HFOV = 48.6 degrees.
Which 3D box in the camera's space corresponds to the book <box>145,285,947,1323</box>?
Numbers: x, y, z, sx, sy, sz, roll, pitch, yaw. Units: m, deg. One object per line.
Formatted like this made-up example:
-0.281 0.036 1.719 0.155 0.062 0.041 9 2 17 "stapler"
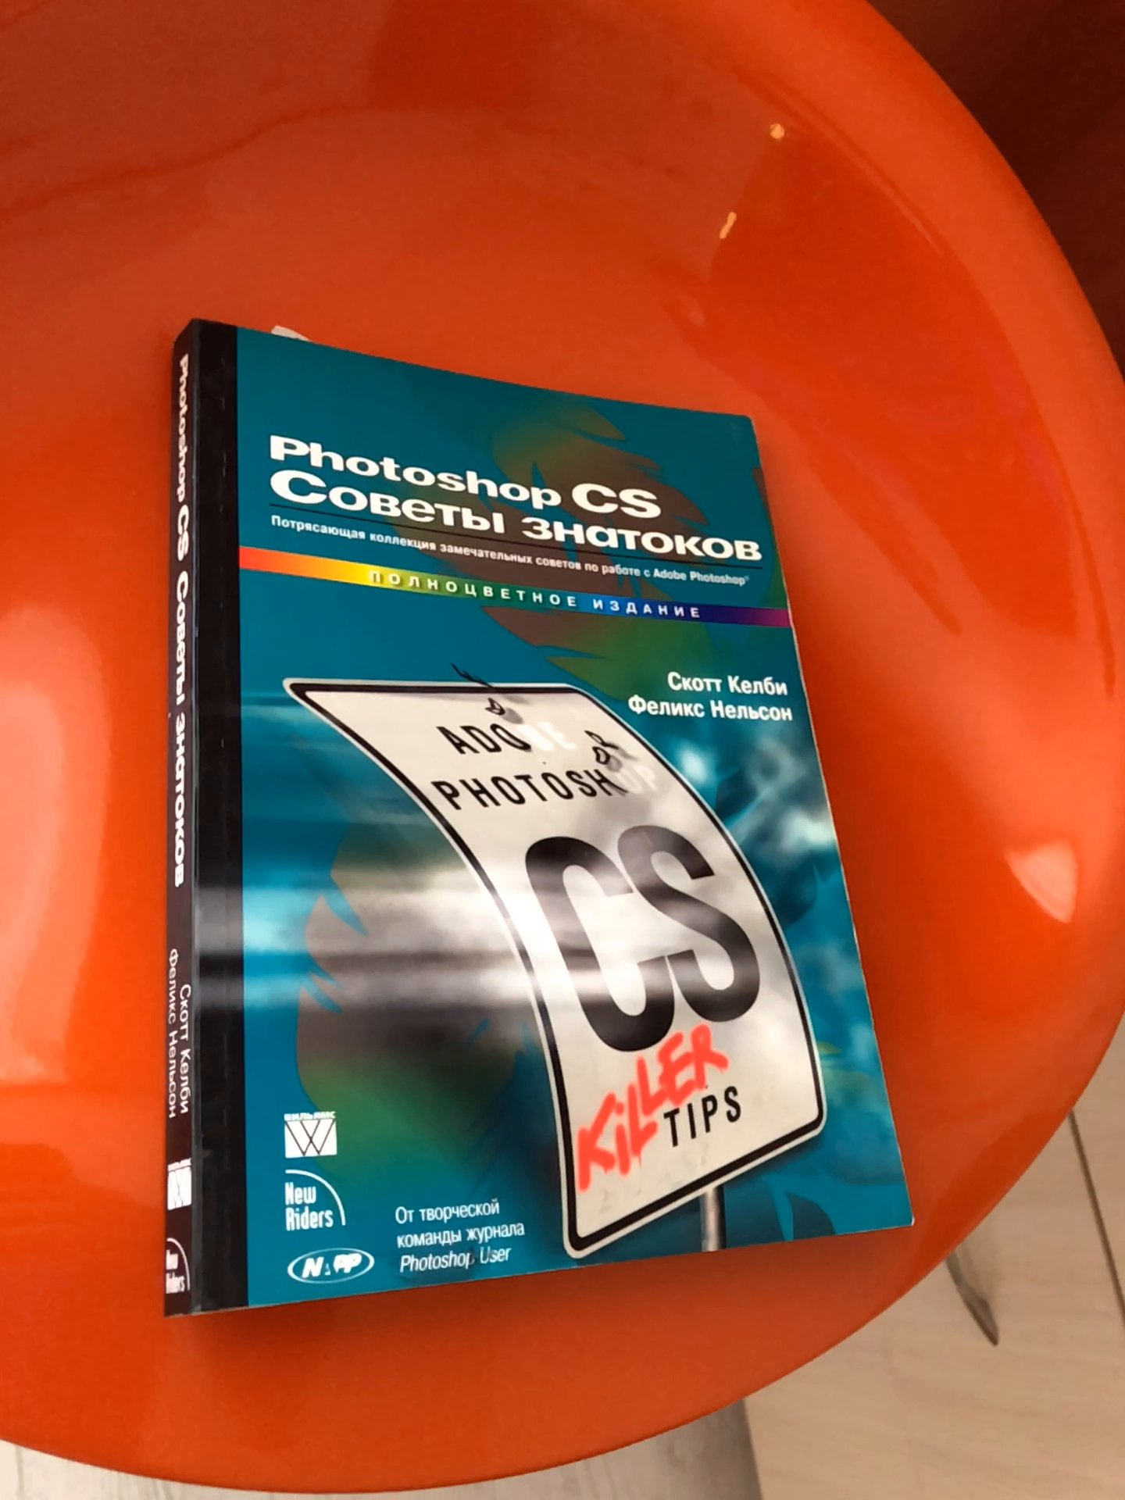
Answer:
-0.010 0.002 0.312 0.174 0.030 0.236 3 65 -24 "book"
